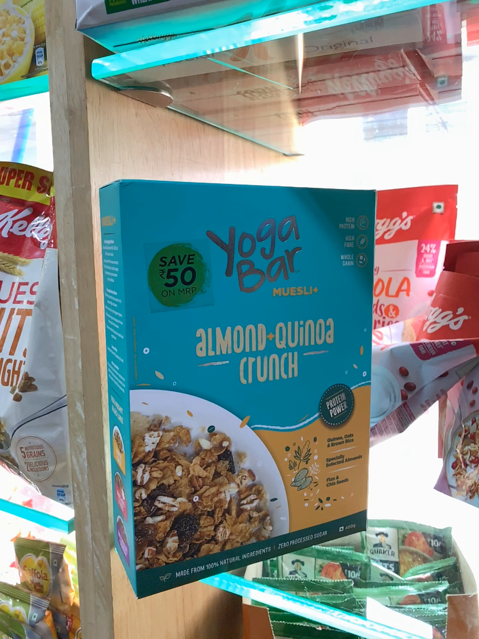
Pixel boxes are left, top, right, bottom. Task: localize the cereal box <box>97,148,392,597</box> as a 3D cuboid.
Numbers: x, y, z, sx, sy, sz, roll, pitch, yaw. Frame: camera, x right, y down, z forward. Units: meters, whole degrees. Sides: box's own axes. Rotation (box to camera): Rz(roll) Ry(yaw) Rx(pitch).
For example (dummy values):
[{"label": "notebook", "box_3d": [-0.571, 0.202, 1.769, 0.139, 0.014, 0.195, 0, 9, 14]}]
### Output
[{"label": "cereal box", "box_3d": [0.006, 0.022, 0.300, 0.160, 0.219, 0.060, -4, 8, -25]}]
